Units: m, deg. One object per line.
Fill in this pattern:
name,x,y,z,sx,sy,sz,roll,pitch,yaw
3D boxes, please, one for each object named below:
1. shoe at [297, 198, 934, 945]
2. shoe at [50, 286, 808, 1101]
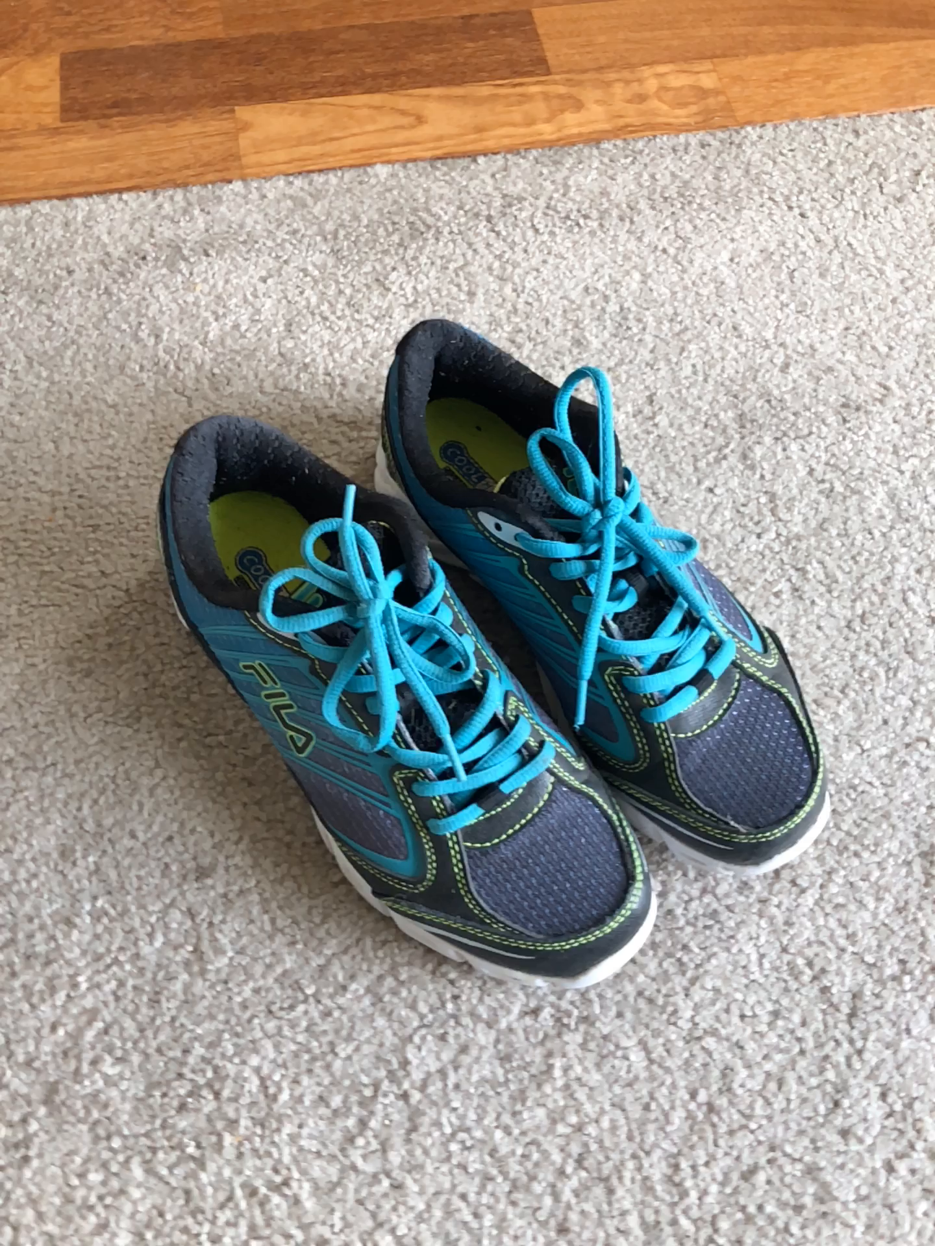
shoe,0.058,-0.024,0.417,0.102,0.119,0.275,-35,69,-18
shoe,-0.027,0.021,0.386,0.105,0.119,0.271,-33,68,-20
